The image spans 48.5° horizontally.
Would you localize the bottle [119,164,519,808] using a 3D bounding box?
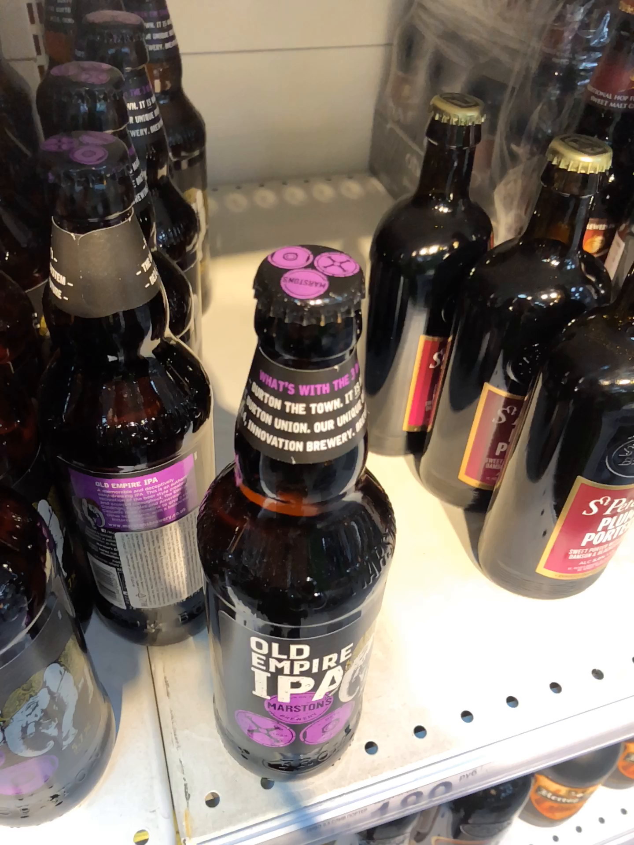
[{"bbox_3d":[-0.011,0.043,0.252,0.080,0.239,0.080,2,43,-2],"label":"bottle"}]
